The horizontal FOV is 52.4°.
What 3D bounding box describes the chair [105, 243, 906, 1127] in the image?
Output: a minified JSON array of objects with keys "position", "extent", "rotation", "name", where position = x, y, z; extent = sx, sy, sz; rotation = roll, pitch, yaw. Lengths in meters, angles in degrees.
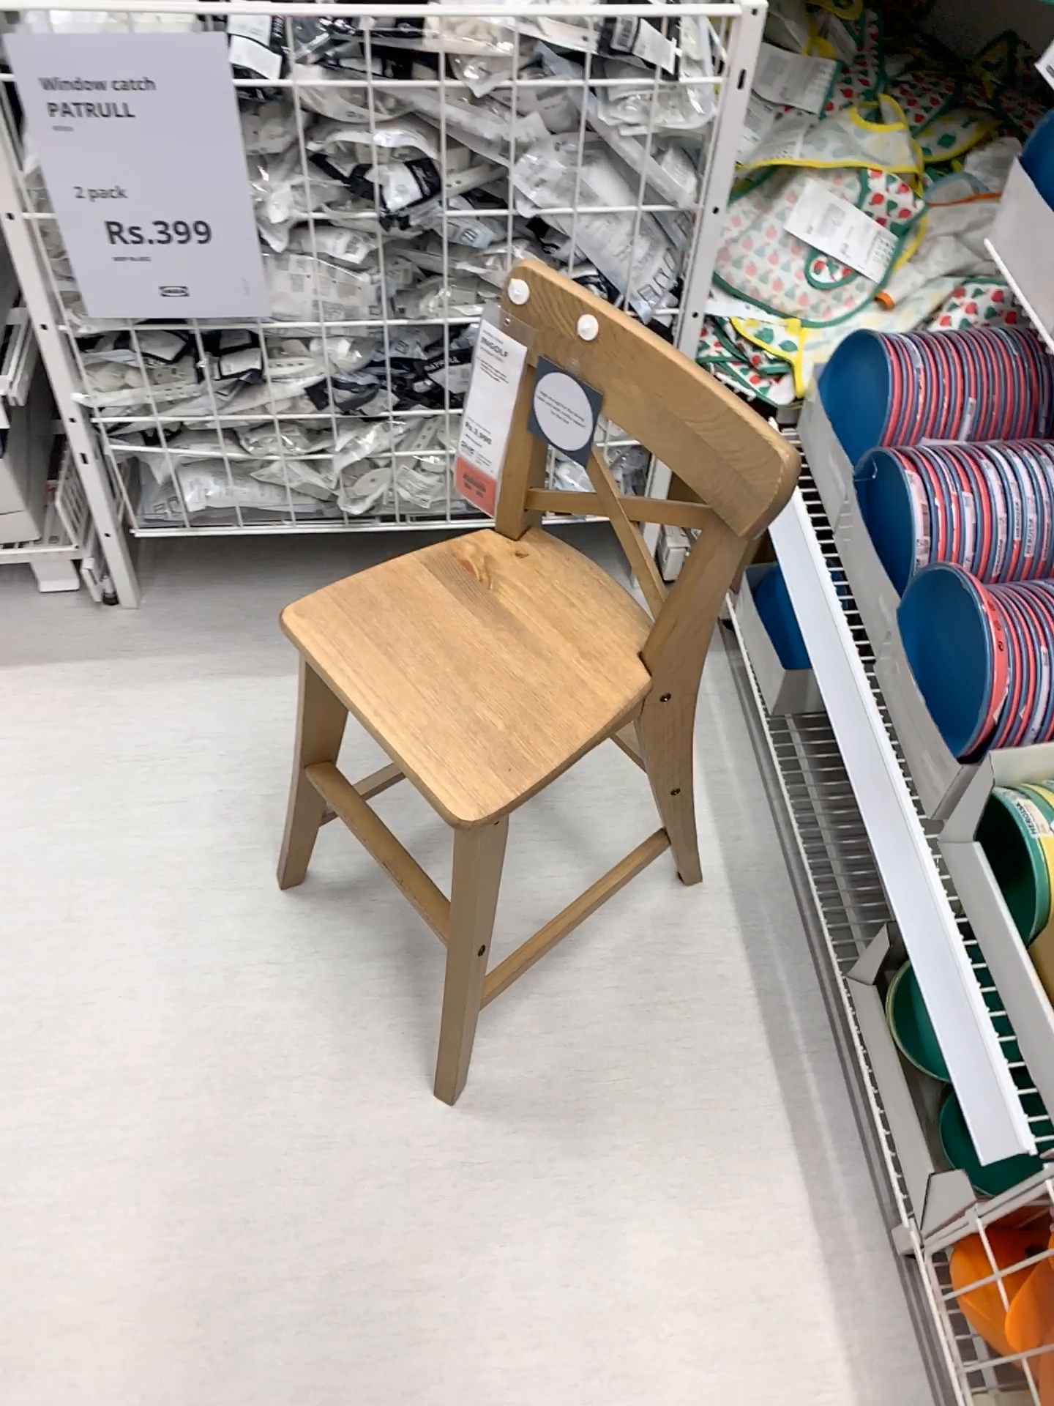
[{"position":[-0.025,0.022,1.073],"extent":[0.460,0.688,0.381],"rotation":[-35,63,-25],"name":"chair"}]
